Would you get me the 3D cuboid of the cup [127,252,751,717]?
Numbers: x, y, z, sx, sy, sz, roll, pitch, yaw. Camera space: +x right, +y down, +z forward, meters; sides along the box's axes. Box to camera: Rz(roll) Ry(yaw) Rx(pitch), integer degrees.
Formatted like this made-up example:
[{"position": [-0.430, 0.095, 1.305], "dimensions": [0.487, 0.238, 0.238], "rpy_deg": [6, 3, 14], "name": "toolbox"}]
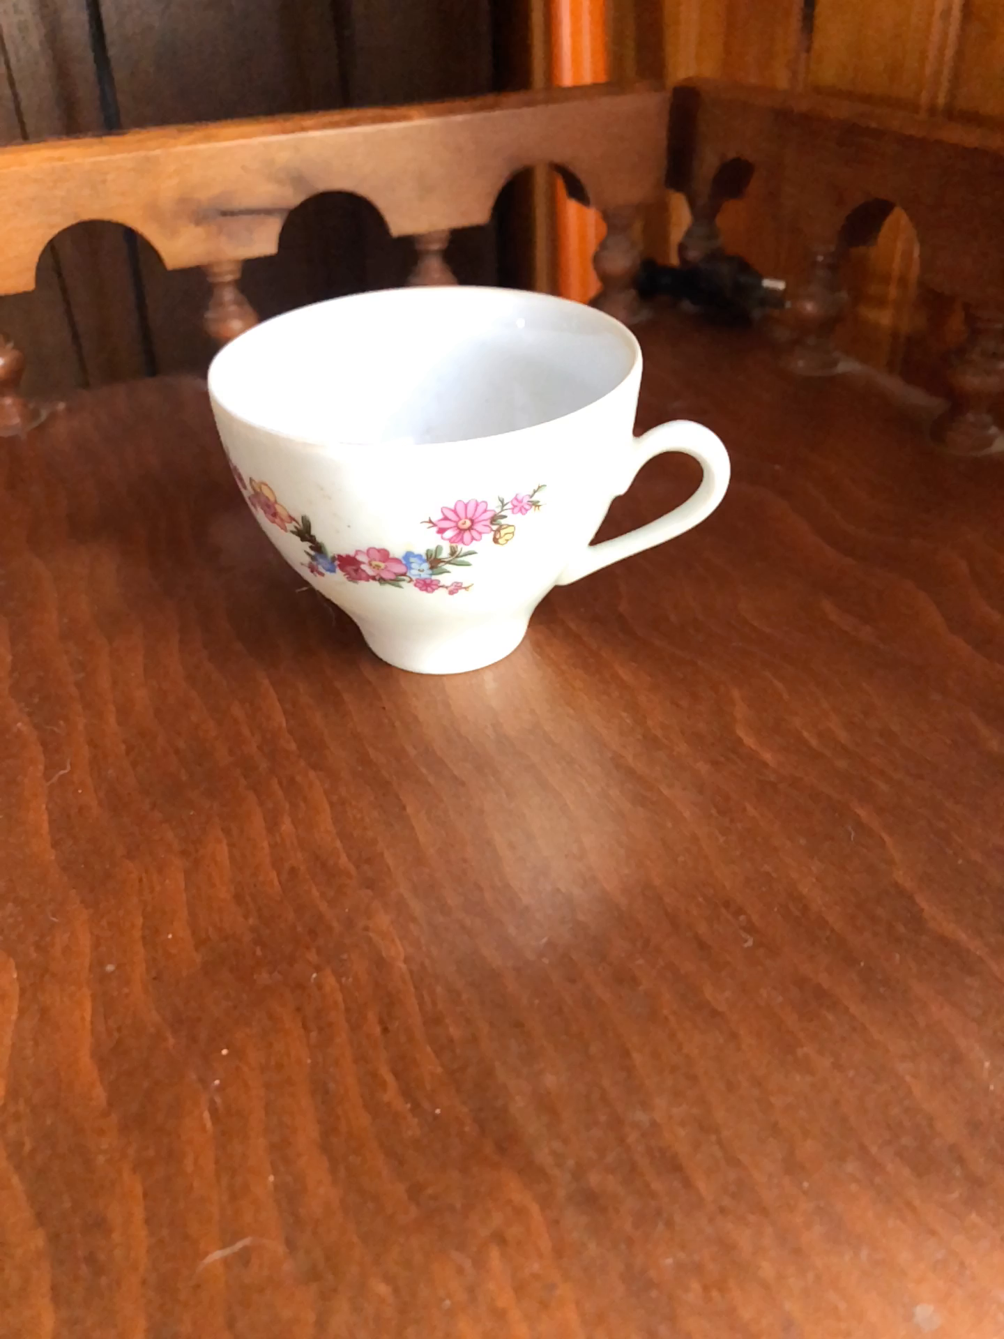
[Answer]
[{"position": [-0.004, -0.040, 0.209], "dimensions": [0.090, 0.050, 0.081], "rpy_deg": [6, 36, 11], "name": "cup"}]
